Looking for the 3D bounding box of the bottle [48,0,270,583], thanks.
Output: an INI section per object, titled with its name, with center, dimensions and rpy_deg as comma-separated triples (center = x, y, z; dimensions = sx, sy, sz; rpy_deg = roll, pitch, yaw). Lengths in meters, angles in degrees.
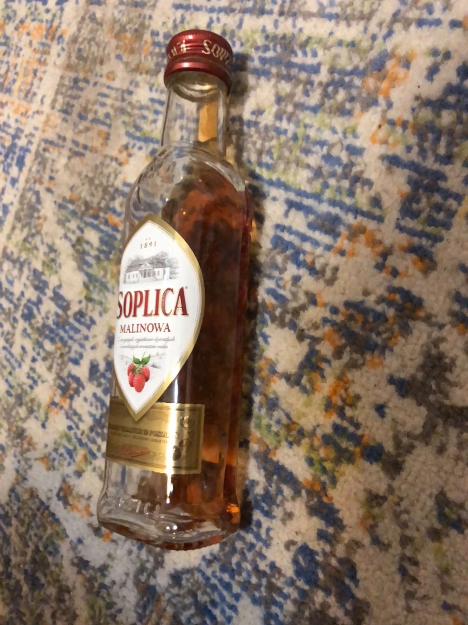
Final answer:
[bottle]
center = -0.027, -0.020, 0.204
dimensions = 0.060, 0.040, 0.210
rpy_deg = -3, 81, 39
